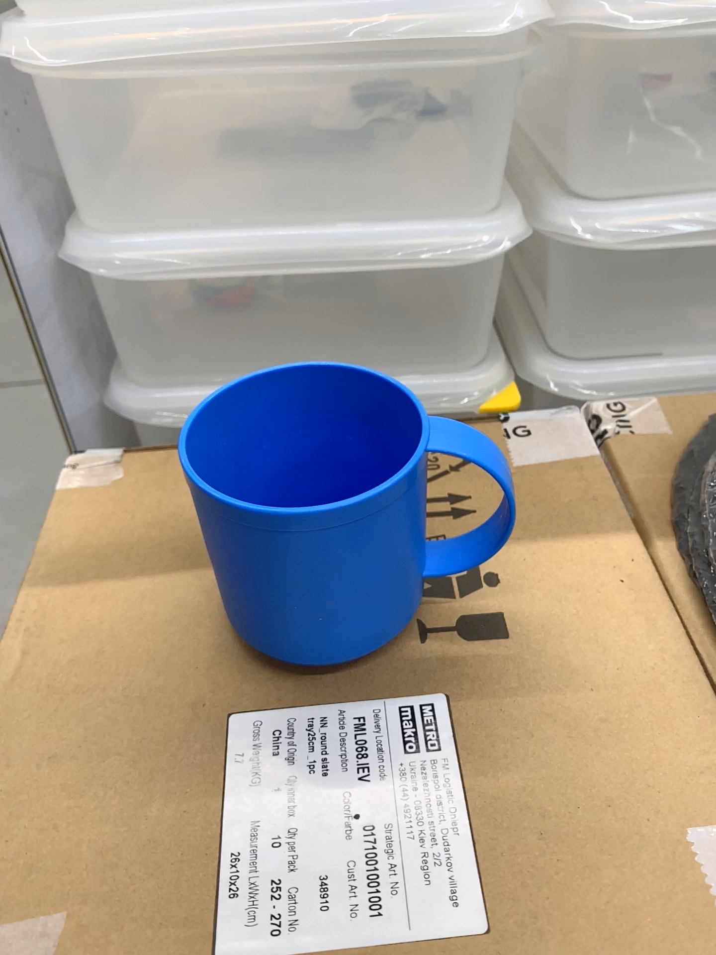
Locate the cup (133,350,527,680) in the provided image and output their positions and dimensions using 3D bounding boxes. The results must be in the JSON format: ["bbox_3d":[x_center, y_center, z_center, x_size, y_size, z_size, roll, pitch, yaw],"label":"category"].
[{"bbox_3d":[-0.006,0.011,0.263,0.109,0.071,0.089,-2,39,3],"label":"cup"}]
